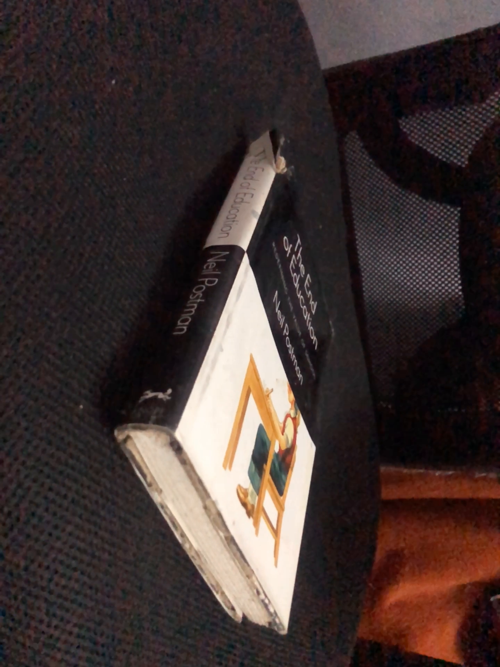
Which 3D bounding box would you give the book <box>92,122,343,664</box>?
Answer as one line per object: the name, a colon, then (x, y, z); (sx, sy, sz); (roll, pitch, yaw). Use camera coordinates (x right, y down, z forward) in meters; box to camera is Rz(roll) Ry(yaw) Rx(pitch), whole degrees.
book: (0.013, 0.017, 0.319); (0.251, 0.030, 0.181); (-73, 151, -47)
